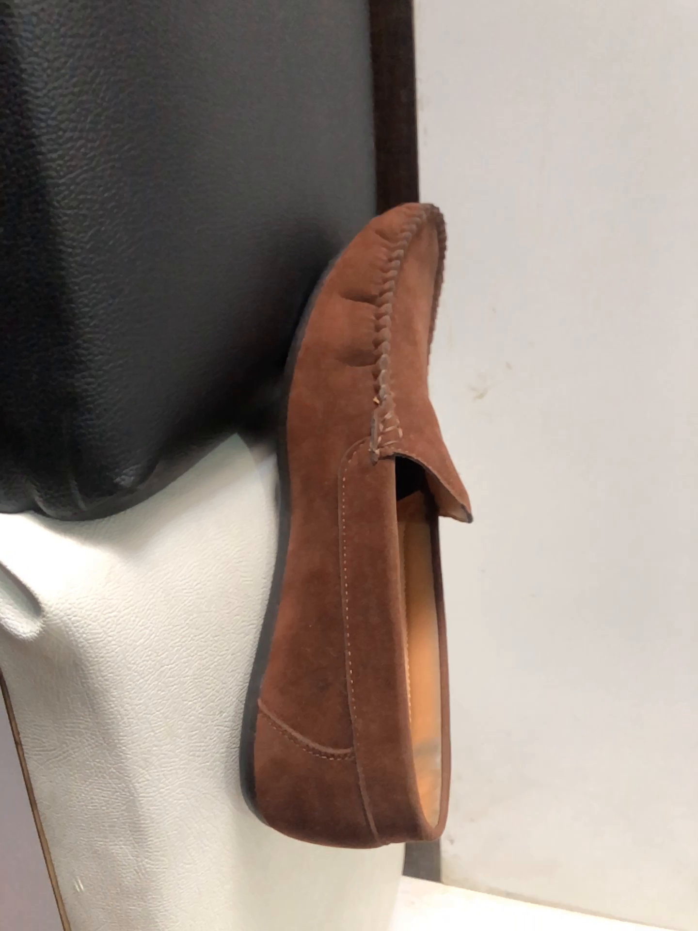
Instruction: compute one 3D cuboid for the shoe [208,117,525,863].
[{"bbox_3d":[0.027,0.009,0.367,0.141,0.080,0.290,46,49,-66],"label":"shoe"}]
